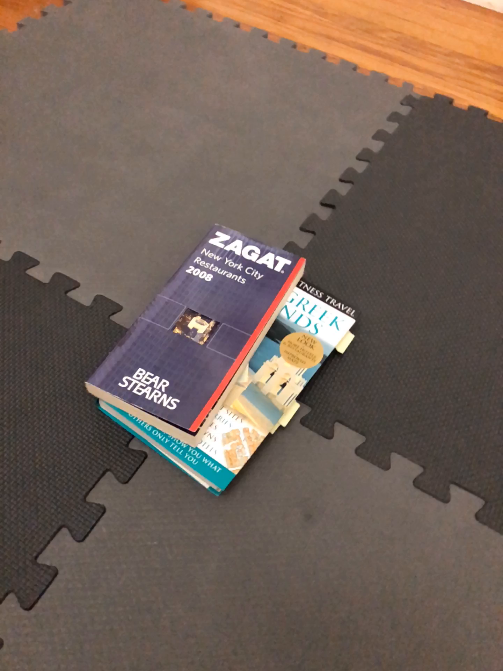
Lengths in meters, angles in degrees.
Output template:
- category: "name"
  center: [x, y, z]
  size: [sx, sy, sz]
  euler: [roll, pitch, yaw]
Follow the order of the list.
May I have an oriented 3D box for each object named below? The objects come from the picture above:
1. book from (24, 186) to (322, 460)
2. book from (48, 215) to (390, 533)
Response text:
- category: "book"
  center: [-0.055, -0.031, 0.491]
  size: [0.150, 0.020, 0.251]
  euler: [23, 55, 12]
- category: "book"
  center: [-0.016, 0.010, 0.486]
  size: [0.170, 0.030, 0.261]
  euler: [31, 57, 17]
